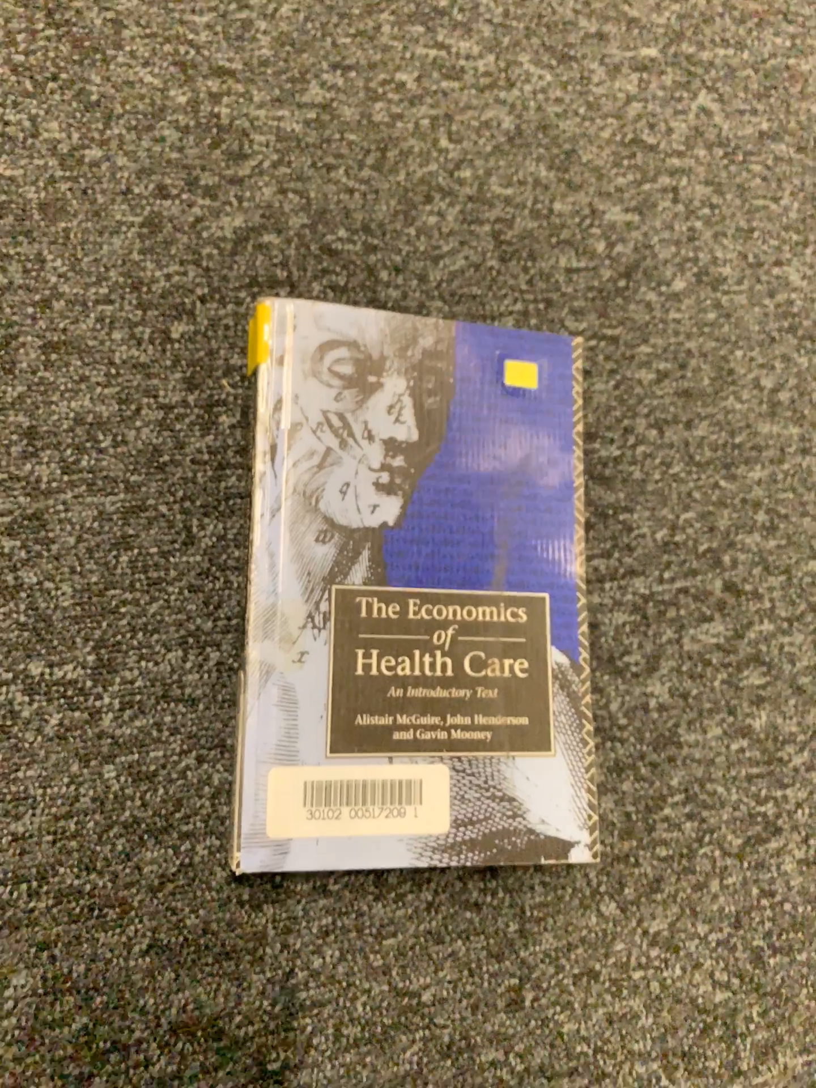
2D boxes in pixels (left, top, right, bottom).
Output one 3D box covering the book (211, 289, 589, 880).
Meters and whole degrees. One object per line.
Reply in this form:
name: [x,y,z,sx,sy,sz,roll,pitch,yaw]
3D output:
book: [0.000,0.014,0.326,0.135,0.030,0.207,4,80,-15]
